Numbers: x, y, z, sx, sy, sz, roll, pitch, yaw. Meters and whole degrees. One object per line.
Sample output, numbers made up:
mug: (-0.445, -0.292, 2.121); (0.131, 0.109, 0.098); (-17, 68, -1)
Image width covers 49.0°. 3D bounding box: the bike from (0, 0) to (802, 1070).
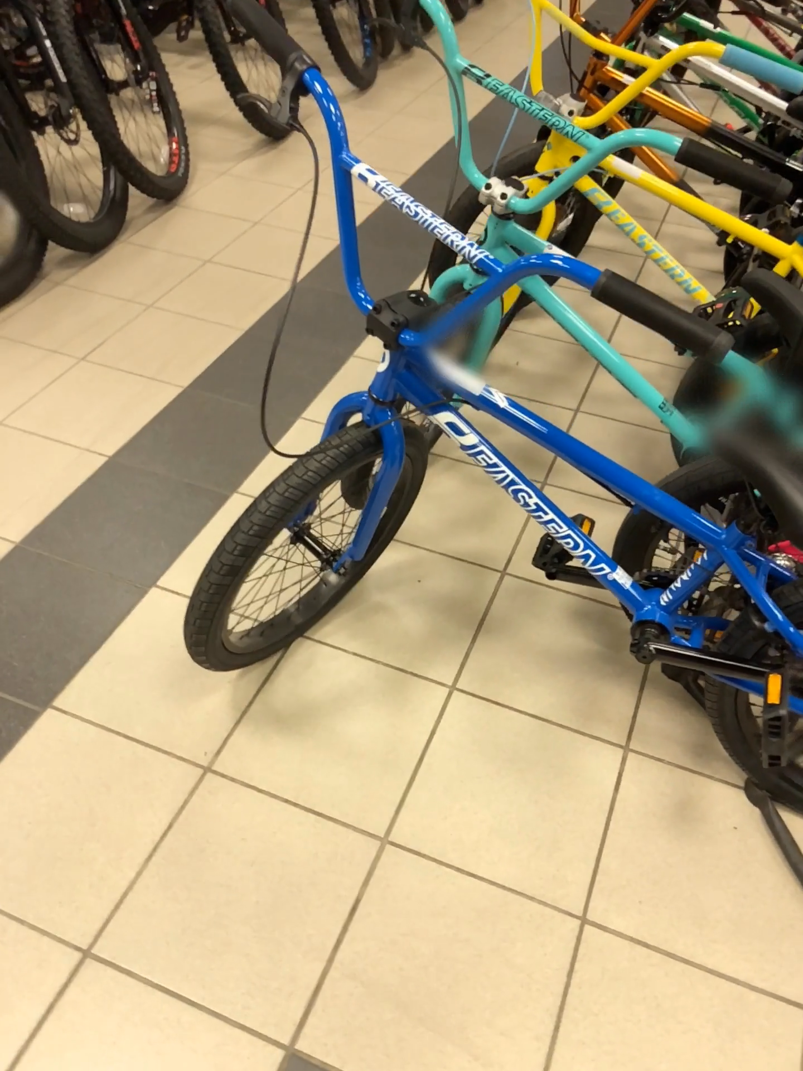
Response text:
bike: (0.324, 0.021, 1.082); (1.257, 0.960, 0.825); (11, 43, 9)
